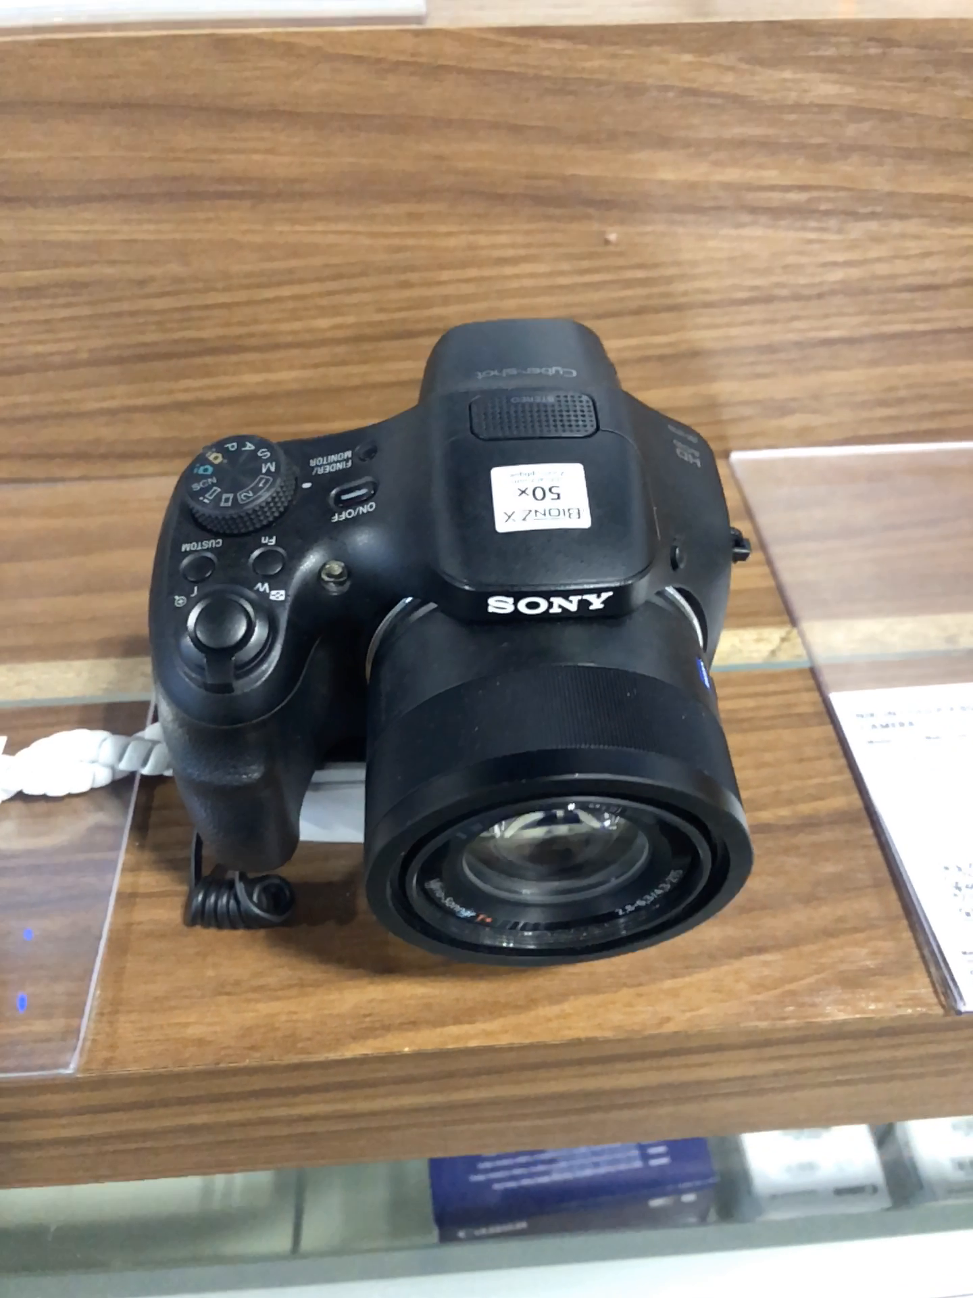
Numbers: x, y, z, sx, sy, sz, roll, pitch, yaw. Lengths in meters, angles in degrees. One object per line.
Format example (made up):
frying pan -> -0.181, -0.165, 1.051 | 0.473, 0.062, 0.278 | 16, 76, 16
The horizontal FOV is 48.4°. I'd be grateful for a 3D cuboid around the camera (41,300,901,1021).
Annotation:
camera -> -0.006, 0.000, 0.236 | 0.130, 0.089, 0.121 | -3, 50, -3
